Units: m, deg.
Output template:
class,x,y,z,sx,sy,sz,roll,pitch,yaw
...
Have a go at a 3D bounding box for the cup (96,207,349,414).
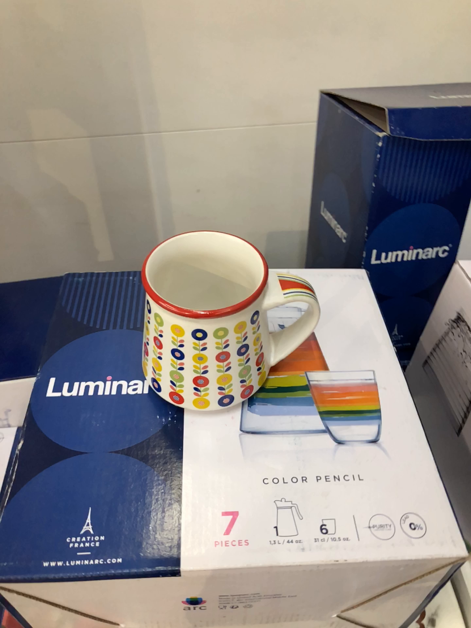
class,x,y,z,sx,sy,sz,roll,pitch,yaw
cup,-0.008,-0.002,0.327,0.130,0.089,0.081,-4,45,-3
